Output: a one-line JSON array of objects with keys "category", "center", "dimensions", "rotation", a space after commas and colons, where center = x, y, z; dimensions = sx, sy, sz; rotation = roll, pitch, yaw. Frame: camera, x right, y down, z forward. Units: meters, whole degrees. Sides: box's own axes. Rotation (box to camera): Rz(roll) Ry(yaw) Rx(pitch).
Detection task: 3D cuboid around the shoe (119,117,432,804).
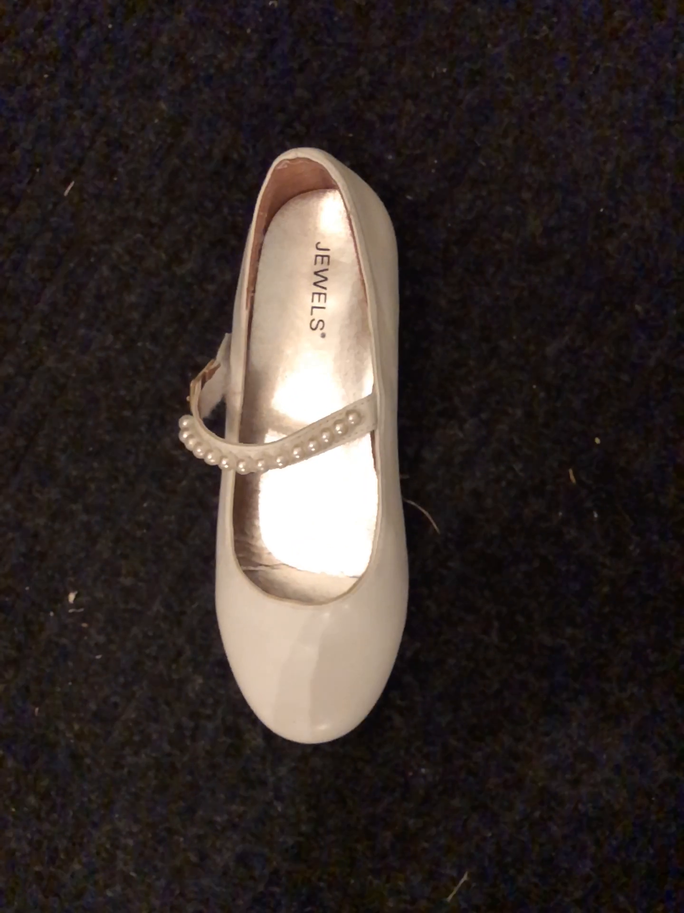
[{"category": "shoe", "center": [-0.015, 0.000, 0.269], "dimensions": [0.080, 0.080, 0.200], "rotation": [2, 86, 10]}]
